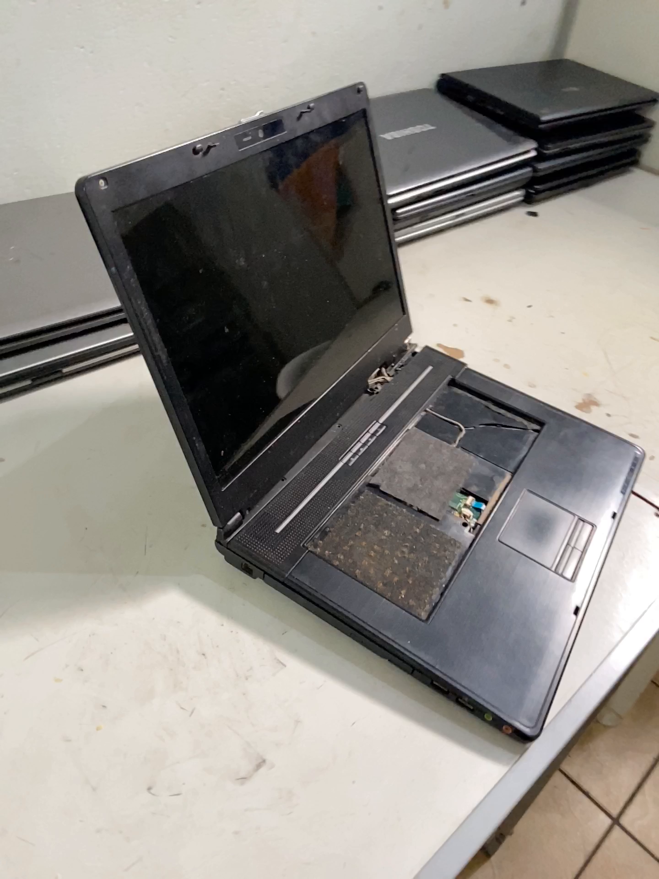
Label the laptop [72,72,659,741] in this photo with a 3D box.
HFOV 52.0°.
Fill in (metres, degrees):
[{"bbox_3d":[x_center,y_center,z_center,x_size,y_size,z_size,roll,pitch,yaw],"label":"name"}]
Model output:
[{"bbox_3d":[0.080,-0.075,0.536,0.379,0.235,0.346,29,46,19],"label":"laptop"}]
